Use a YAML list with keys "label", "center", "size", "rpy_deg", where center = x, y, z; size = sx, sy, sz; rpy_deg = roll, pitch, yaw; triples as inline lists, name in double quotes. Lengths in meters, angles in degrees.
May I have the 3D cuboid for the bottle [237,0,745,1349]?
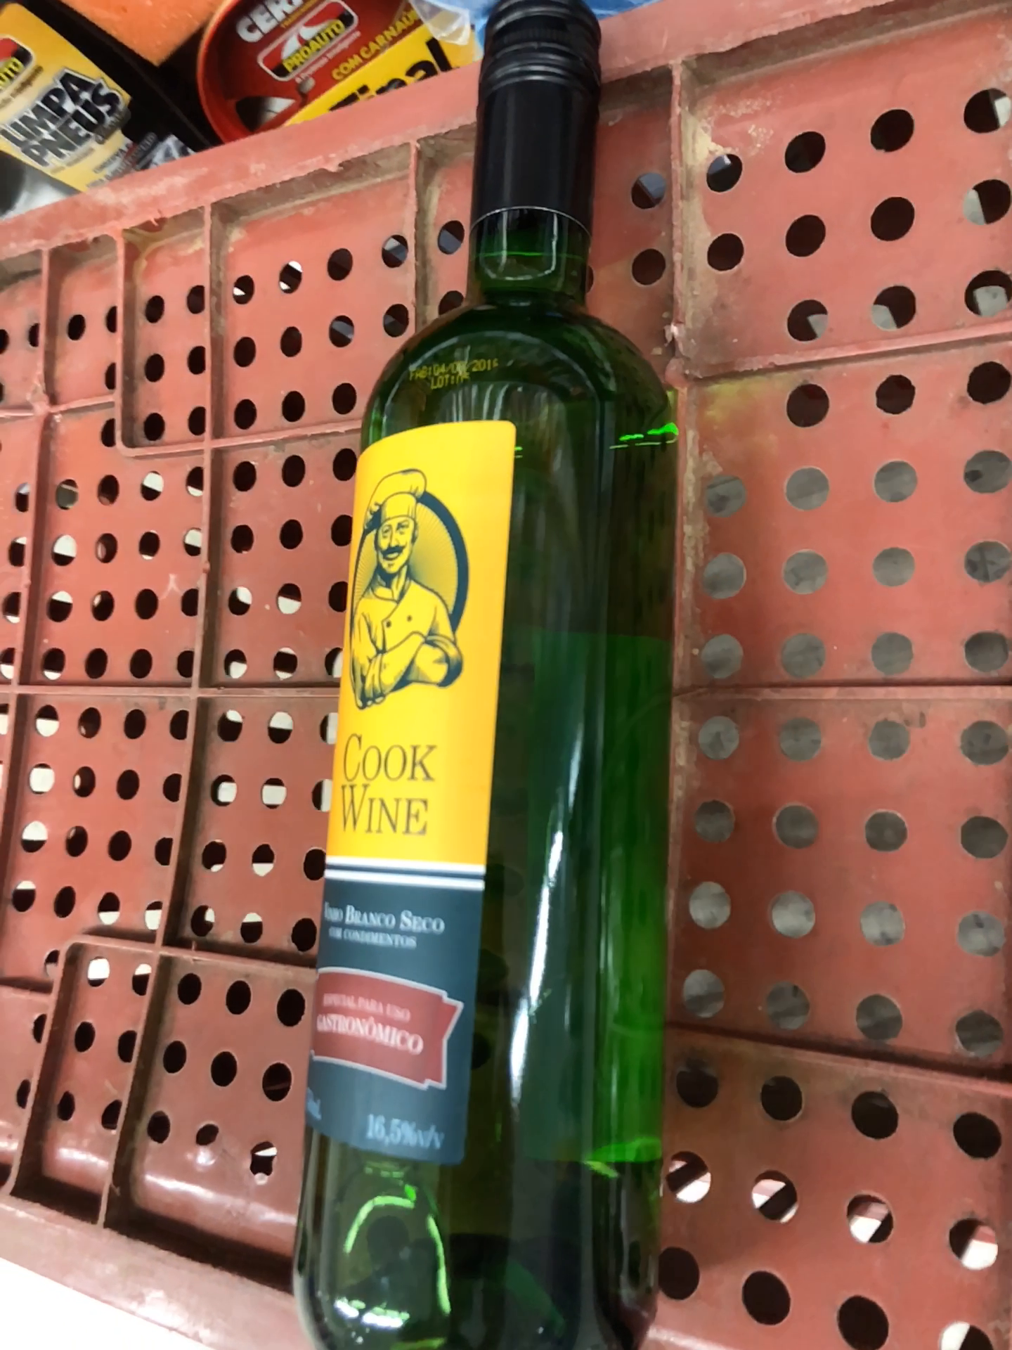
- label: "bottle"
  center: [0.001, -0.024, 0.245]
  size: [0.080, 0.060, 0.320]
  rpy_deg: [-5, 79, 40]
